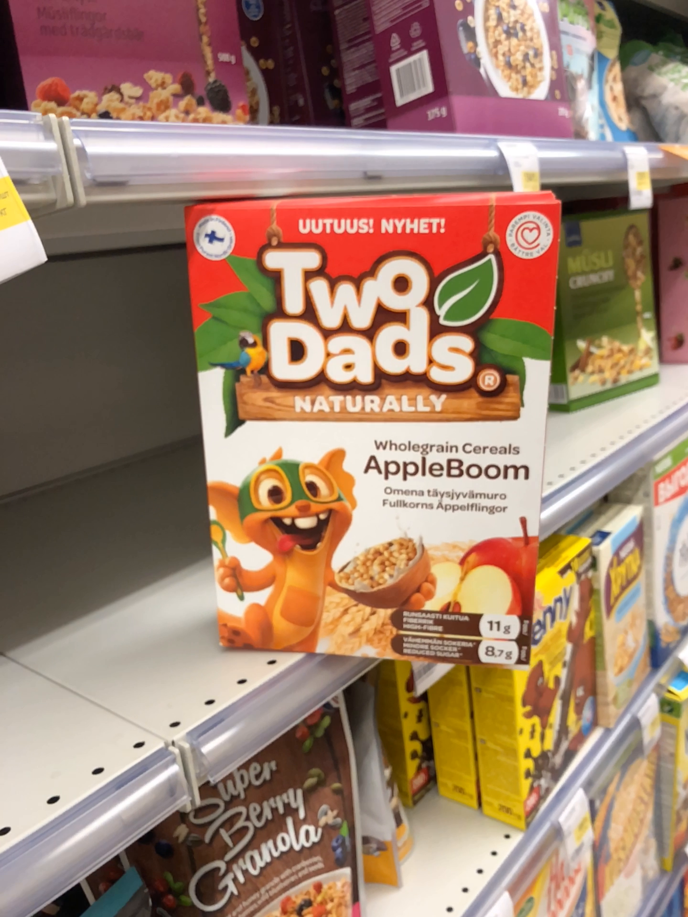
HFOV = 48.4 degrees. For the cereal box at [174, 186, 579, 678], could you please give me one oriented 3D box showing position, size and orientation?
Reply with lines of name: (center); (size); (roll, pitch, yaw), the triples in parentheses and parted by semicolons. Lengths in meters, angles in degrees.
cereal box: (0.020, -0.017, 0.456); (0.200, 0.269, 0.080); (2, 18, 9)
